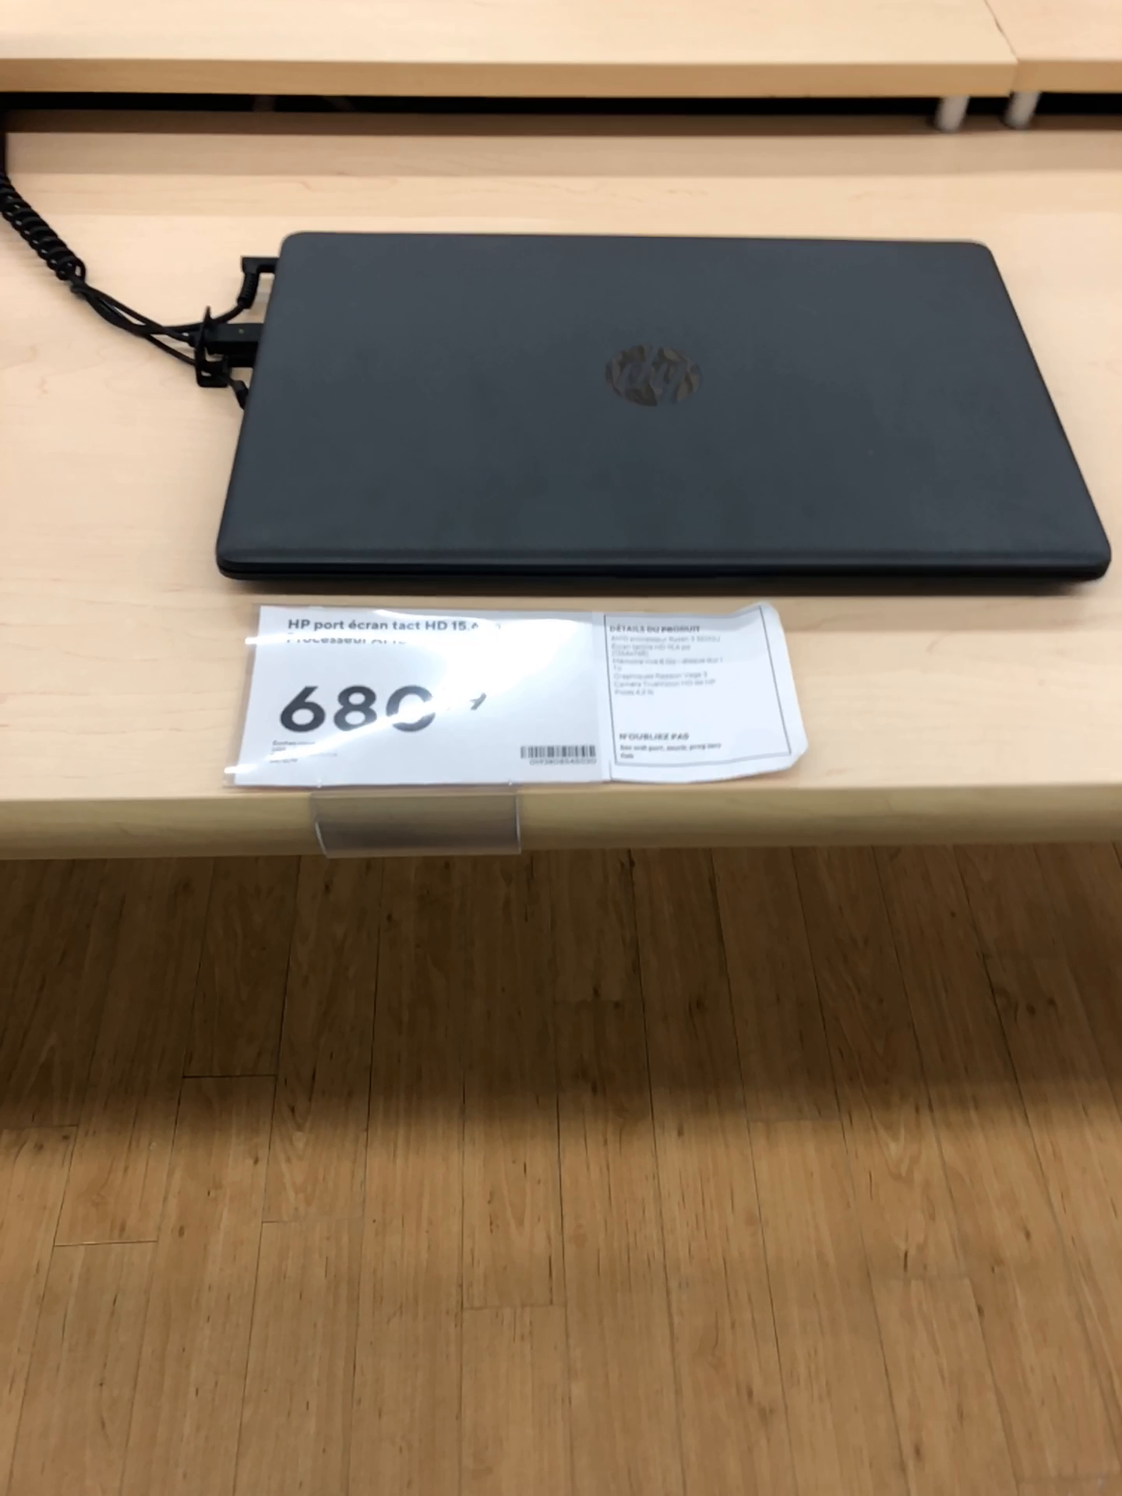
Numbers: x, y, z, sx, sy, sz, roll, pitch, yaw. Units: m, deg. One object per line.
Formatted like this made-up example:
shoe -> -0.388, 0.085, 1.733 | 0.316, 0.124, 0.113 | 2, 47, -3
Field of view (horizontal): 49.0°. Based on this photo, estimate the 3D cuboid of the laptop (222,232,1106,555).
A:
laptop -> 0.044, -0.180, 0.595 | 0.373, 0.005, 0.245 | 0, 52, -2
